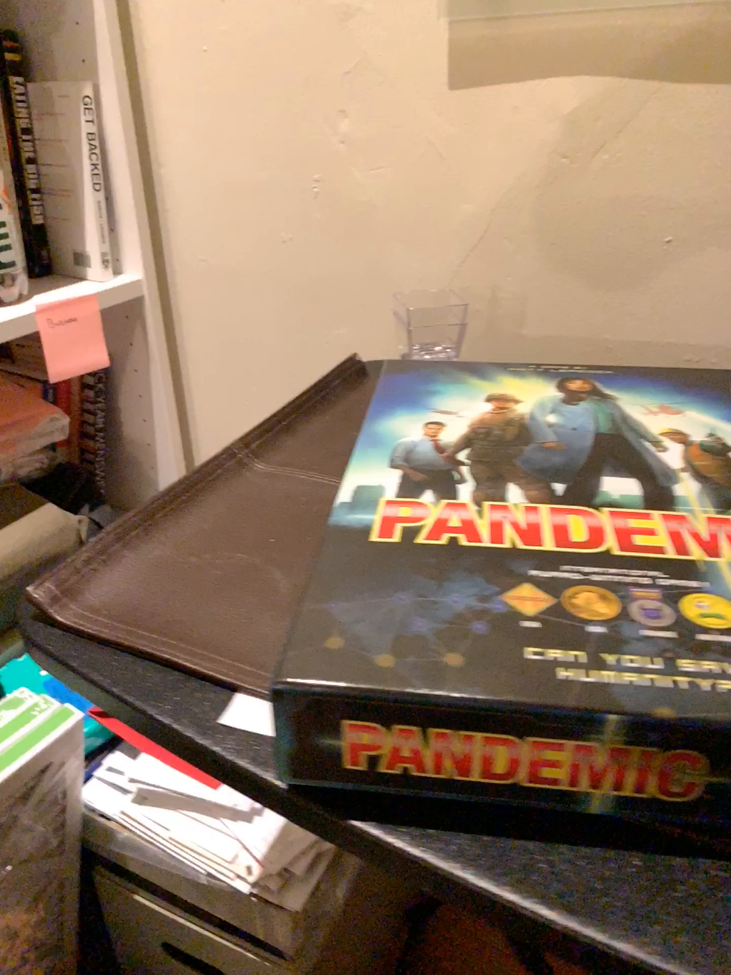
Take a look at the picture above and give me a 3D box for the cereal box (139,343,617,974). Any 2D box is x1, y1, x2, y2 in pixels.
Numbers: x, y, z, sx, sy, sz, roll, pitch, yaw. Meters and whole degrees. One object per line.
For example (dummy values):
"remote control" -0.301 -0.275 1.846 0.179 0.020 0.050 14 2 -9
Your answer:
"cereal box" -0.007 0.353 1.231 0.470 0.994 0.513 -13 30 -19
